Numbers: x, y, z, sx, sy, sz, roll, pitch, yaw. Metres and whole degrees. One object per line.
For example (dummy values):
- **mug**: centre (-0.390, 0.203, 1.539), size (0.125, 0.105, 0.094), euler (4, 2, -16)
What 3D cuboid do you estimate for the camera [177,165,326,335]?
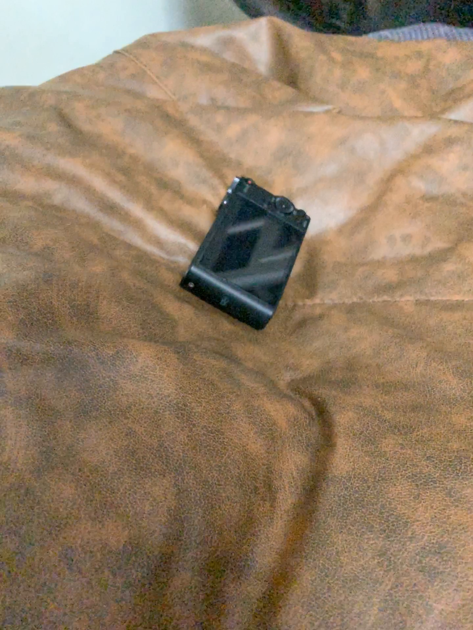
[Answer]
- **camera**: centre (0.012, -0.044, 0.303), size (0.060, 0.024, 0.100), euler (25, 52, -1)
